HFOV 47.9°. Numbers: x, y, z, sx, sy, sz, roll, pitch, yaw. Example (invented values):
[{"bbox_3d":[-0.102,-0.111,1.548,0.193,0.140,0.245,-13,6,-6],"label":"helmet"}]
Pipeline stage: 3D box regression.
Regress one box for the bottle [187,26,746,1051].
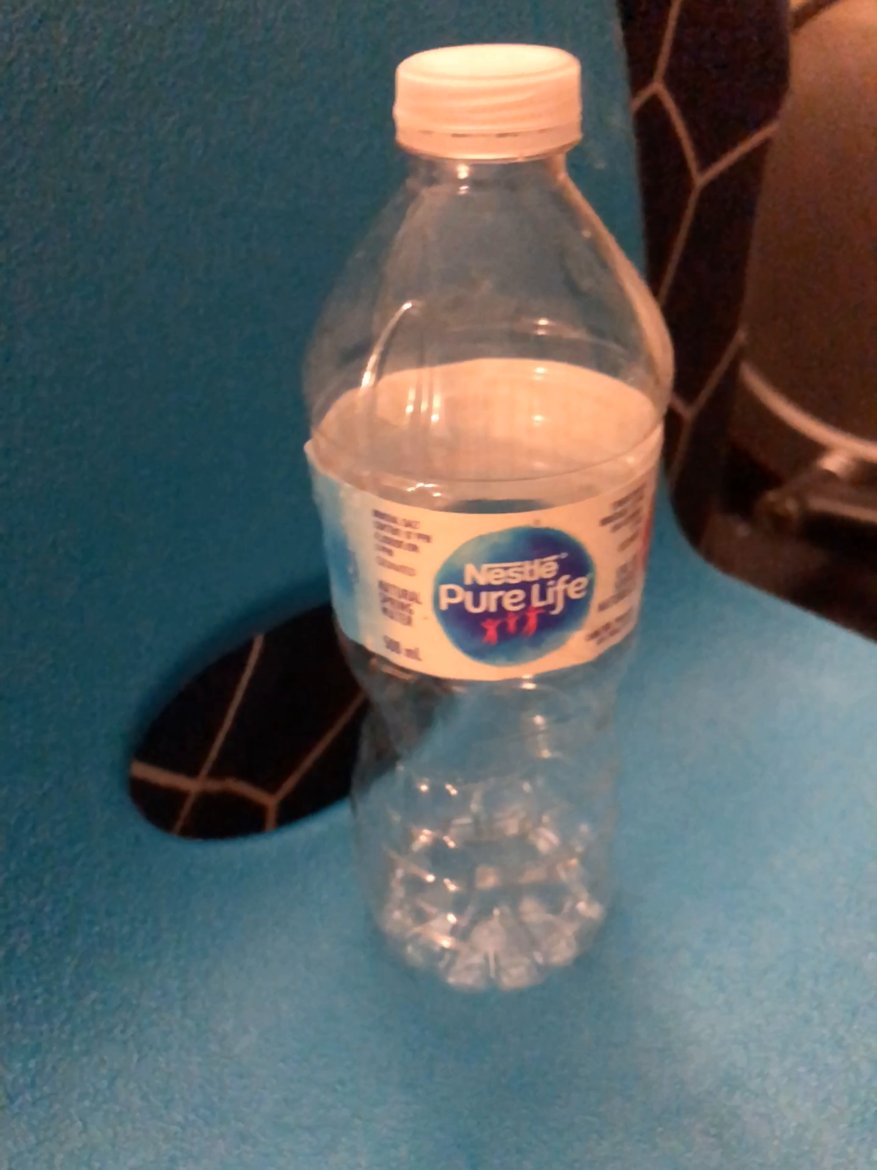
[{"bbox_3d":[0.005,-0.001,0.200,0.070,0.189,0.070,-3,31,2],"label":"bottle"}]
